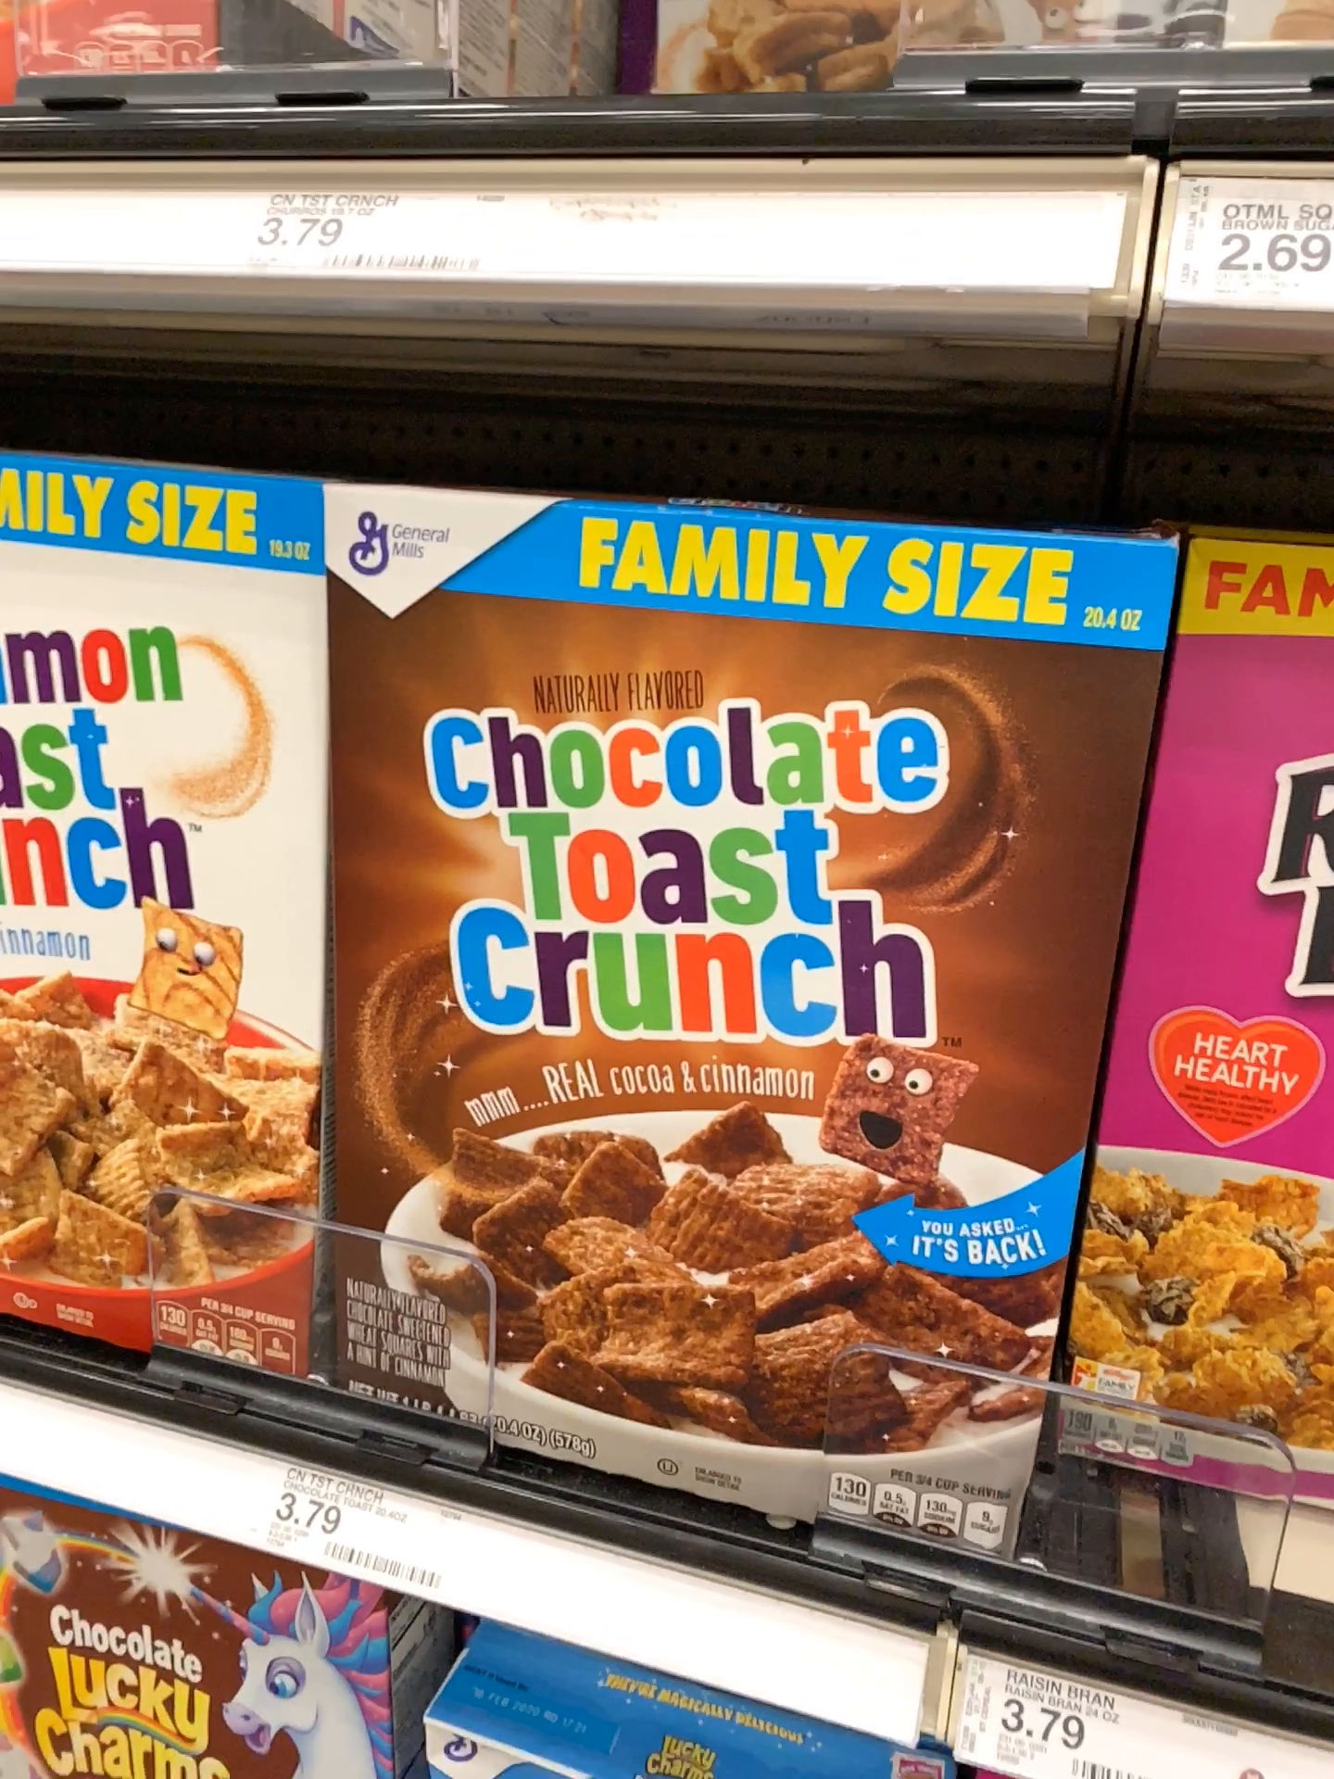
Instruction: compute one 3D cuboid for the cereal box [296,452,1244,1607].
[{"bbox_3d":[0.016,0.037,0.413,0.240,0.309,0.060,8,17,15],"label":"cereal box"}]
